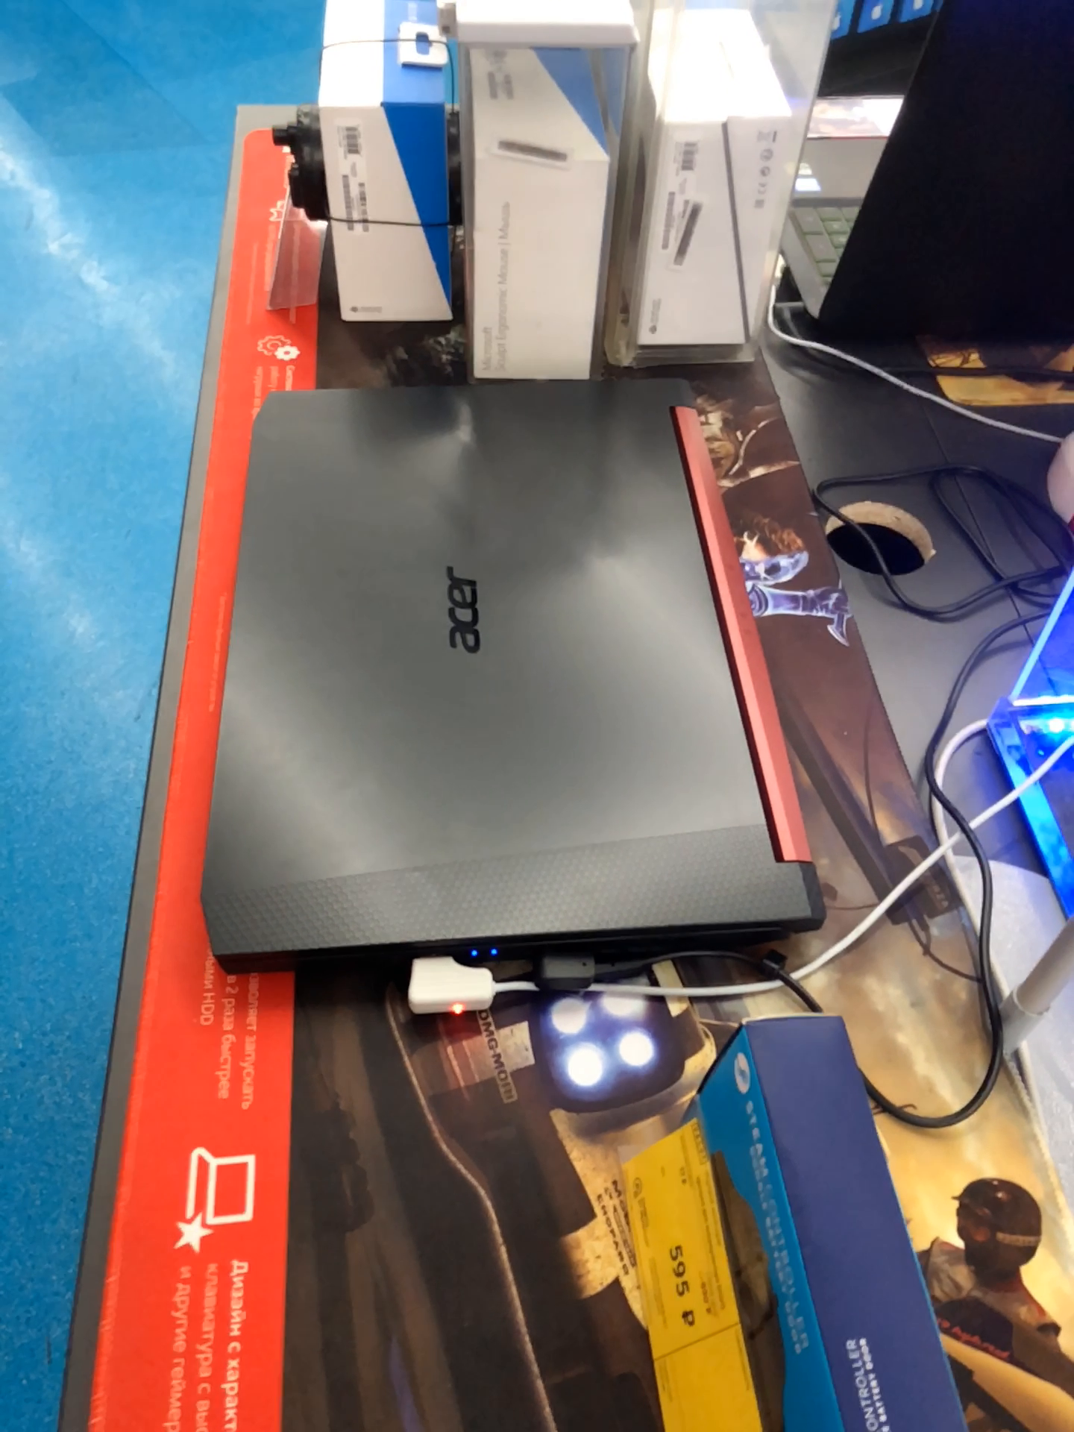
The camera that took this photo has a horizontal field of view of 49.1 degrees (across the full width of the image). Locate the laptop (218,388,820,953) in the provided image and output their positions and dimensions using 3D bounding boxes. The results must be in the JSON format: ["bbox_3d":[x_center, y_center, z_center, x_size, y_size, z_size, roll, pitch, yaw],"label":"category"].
[{"bbox_3d":[-0.021,-0.050,0.583,0.242,0.005,0.352,-3,52,-4],"label":"laptop"}]
